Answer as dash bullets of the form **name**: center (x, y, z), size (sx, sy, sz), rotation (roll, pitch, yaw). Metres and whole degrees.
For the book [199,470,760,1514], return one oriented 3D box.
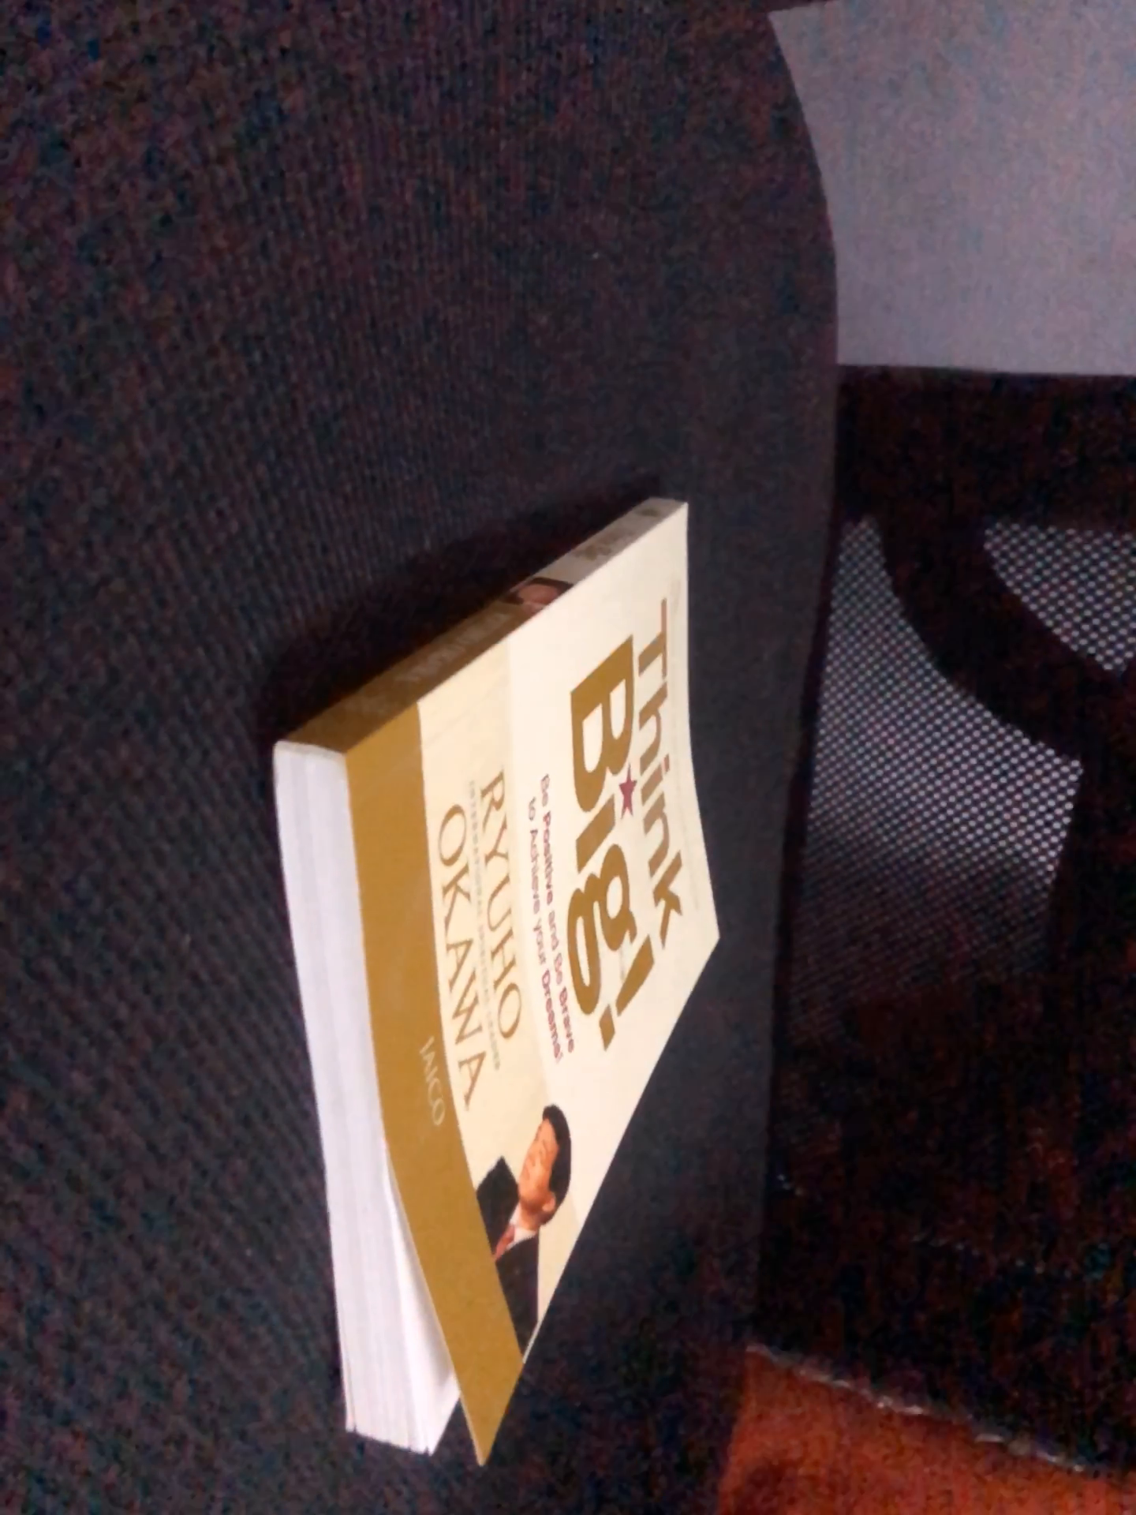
- **book**: center (0.004, 0.026, 0.263), size (0.191, 0.026, 0.137), rotation (-47, 136, -59)
